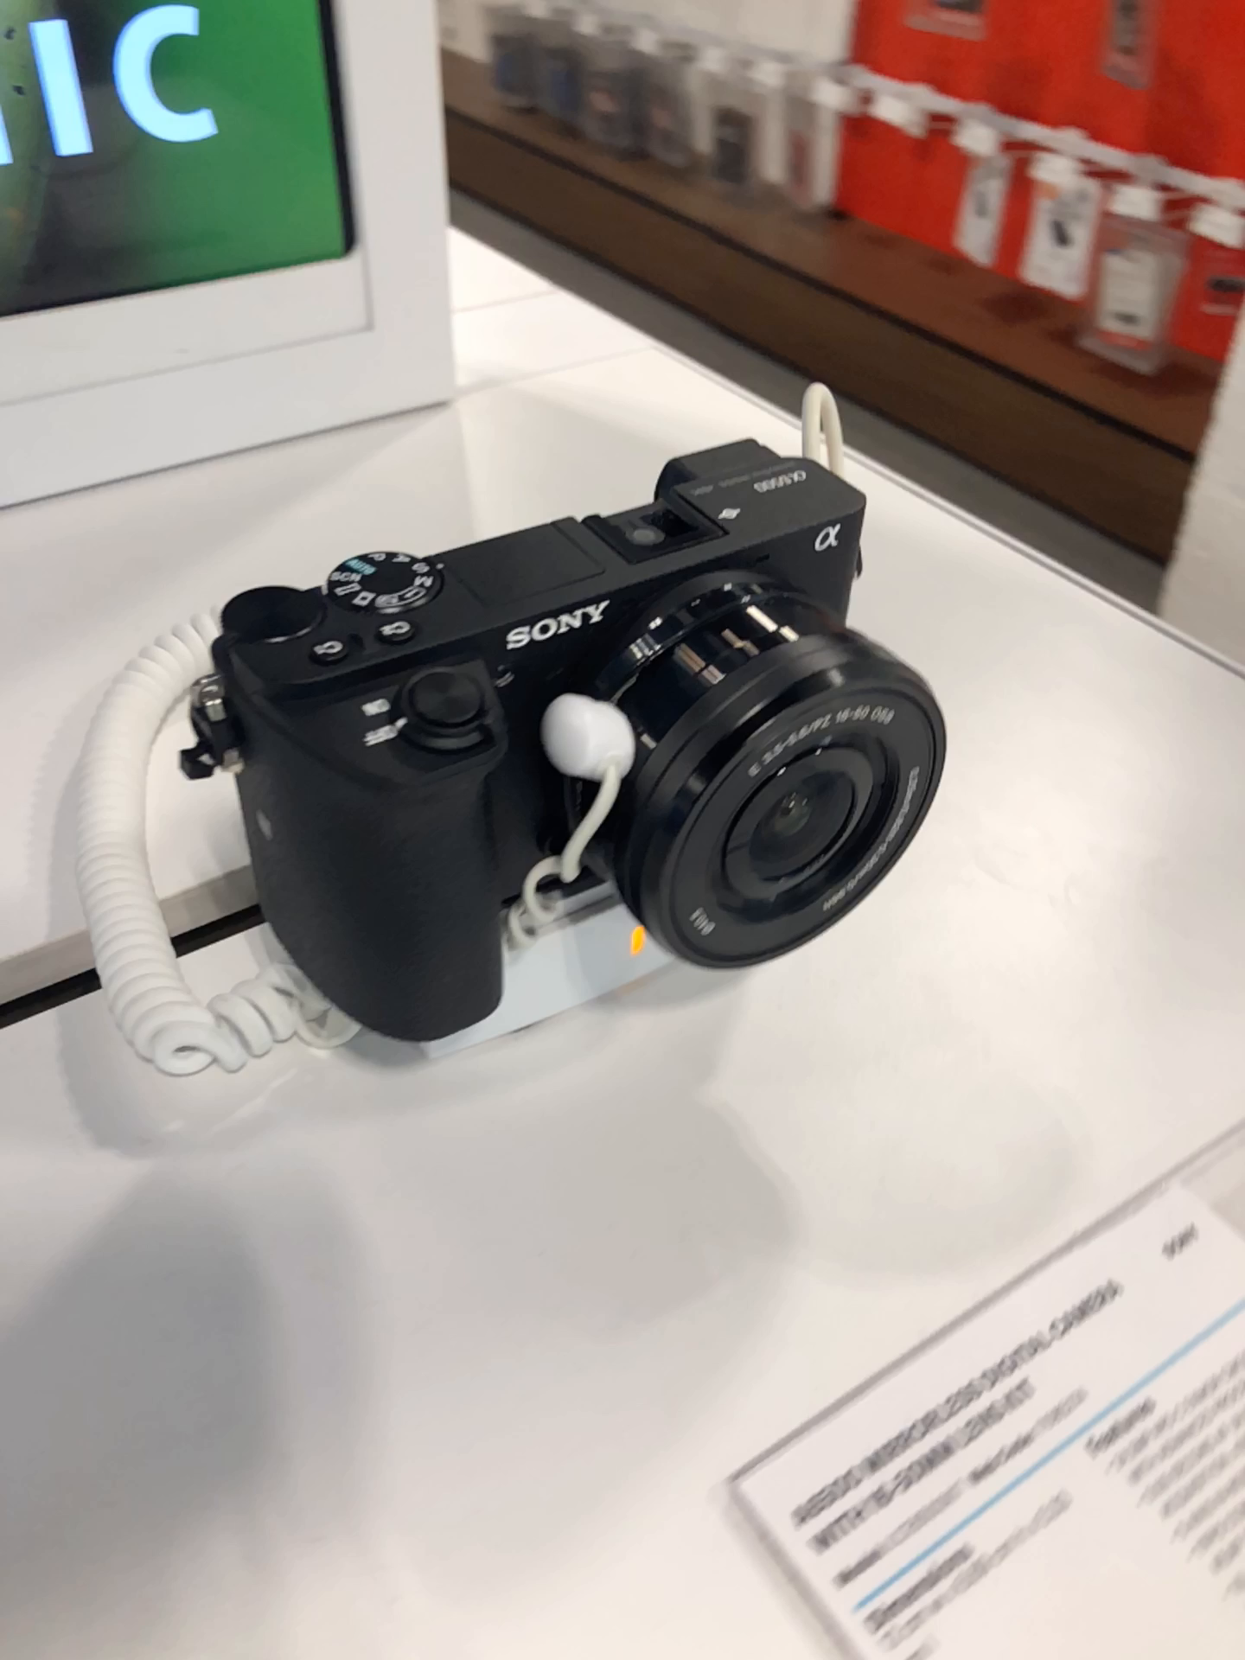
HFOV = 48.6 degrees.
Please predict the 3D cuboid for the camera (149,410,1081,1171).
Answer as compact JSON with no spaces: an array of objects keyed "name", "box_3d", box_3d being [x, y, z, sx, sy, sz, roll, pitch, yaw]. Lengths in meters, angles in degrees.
[{"name":"camera","box_3d":[0.001,-0.016,0.250,0.140,0.070,0.070,-23,46,-28]}]
